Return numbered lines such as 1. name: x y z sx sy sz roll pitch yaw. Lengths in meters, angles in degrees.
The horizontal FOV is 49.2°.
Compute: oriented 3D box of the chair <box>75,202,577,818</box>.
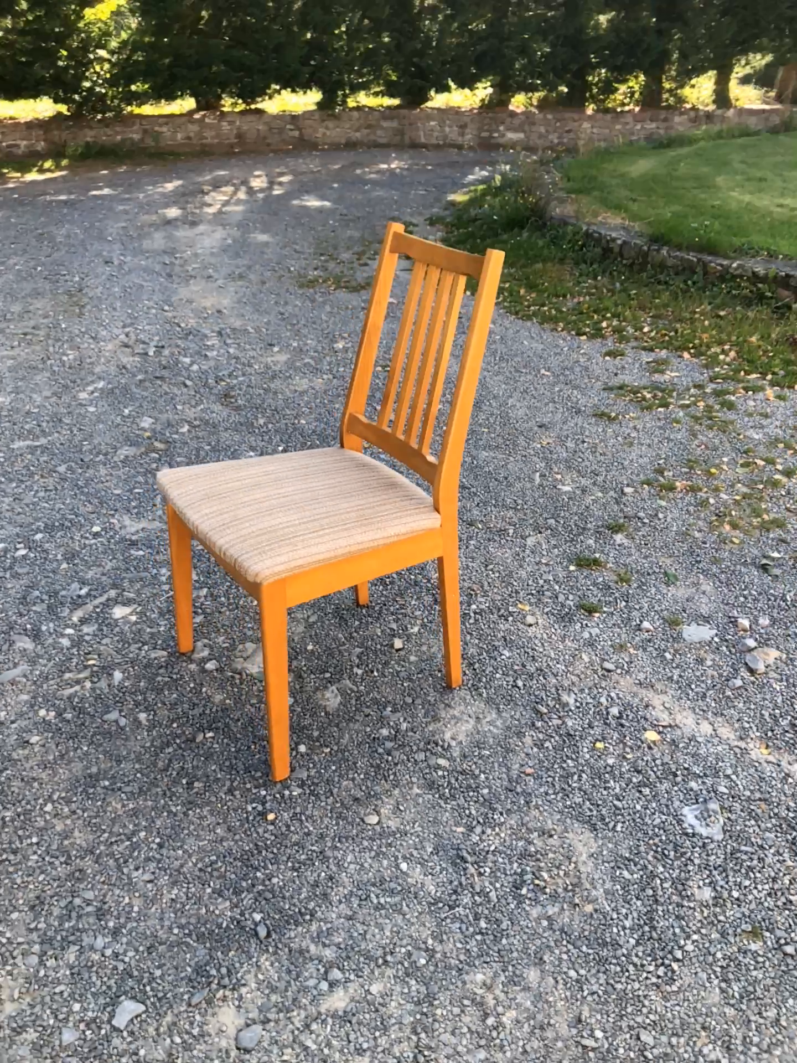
1. chair: -0.132 -0.088 1.634 0.592 0.845 0.601 -20 36 -29
